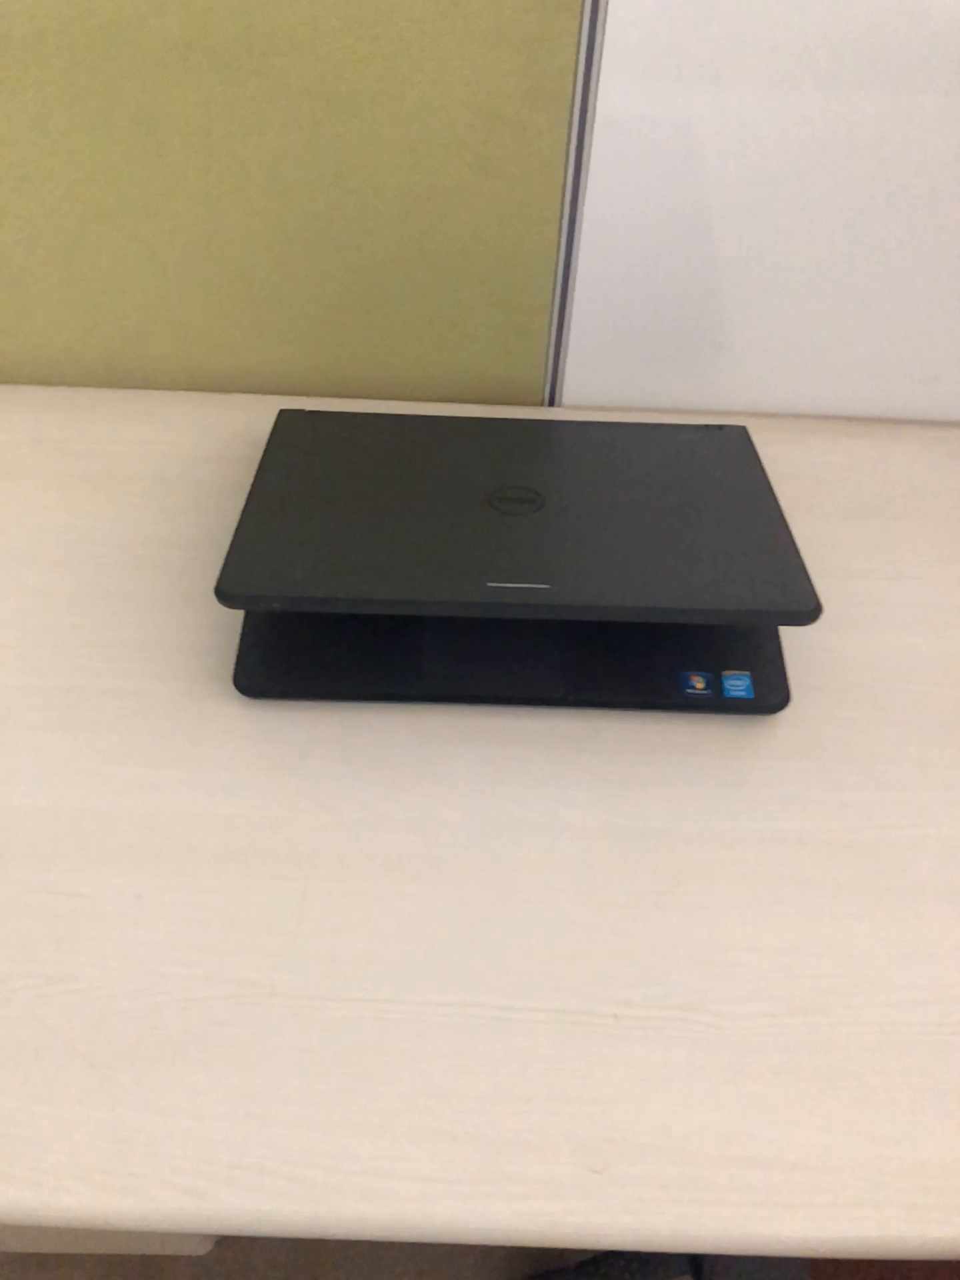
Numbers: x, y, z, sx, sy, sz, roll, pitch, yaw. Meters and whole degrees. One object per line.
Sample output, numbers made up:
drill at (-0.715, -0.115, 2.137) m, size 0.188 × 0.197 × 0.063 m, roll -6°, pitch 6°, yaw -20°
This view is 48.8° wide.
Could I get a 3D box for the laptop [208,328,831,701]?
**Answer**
laptop at (0.022, -0.084, 0.645) m, size 0.322 × 0.072 × 0.230 m, roll 2°, pitch 52°, yaw -1°
